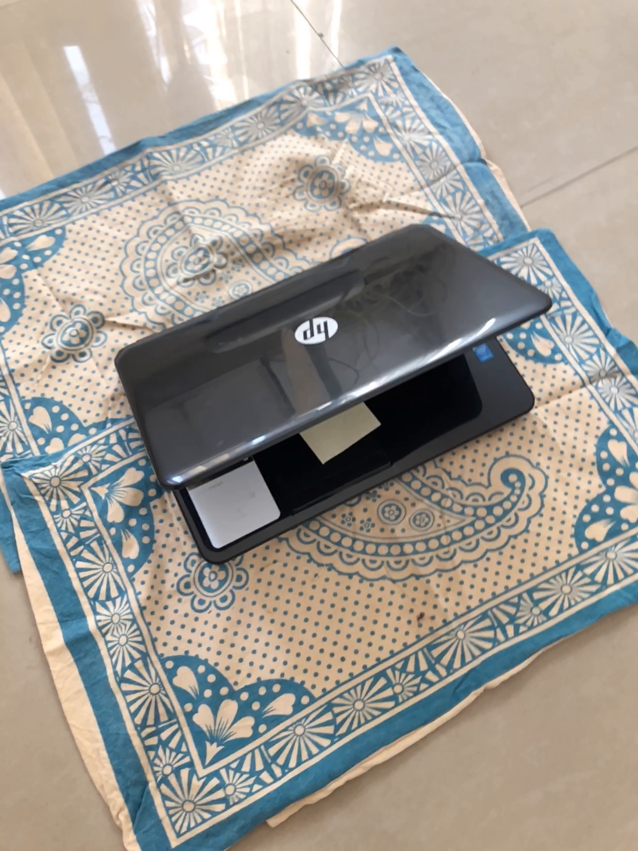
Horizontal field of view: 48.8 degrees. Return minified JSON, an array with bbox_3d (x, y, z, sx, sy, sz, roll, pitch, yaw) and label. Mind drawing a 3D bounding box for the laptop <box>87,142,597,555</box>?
[{"bbox_3d":[0.010,-0.072,0.672,0.363,0.151,0.237,-25,69,-8],"label":"laptop"}]
